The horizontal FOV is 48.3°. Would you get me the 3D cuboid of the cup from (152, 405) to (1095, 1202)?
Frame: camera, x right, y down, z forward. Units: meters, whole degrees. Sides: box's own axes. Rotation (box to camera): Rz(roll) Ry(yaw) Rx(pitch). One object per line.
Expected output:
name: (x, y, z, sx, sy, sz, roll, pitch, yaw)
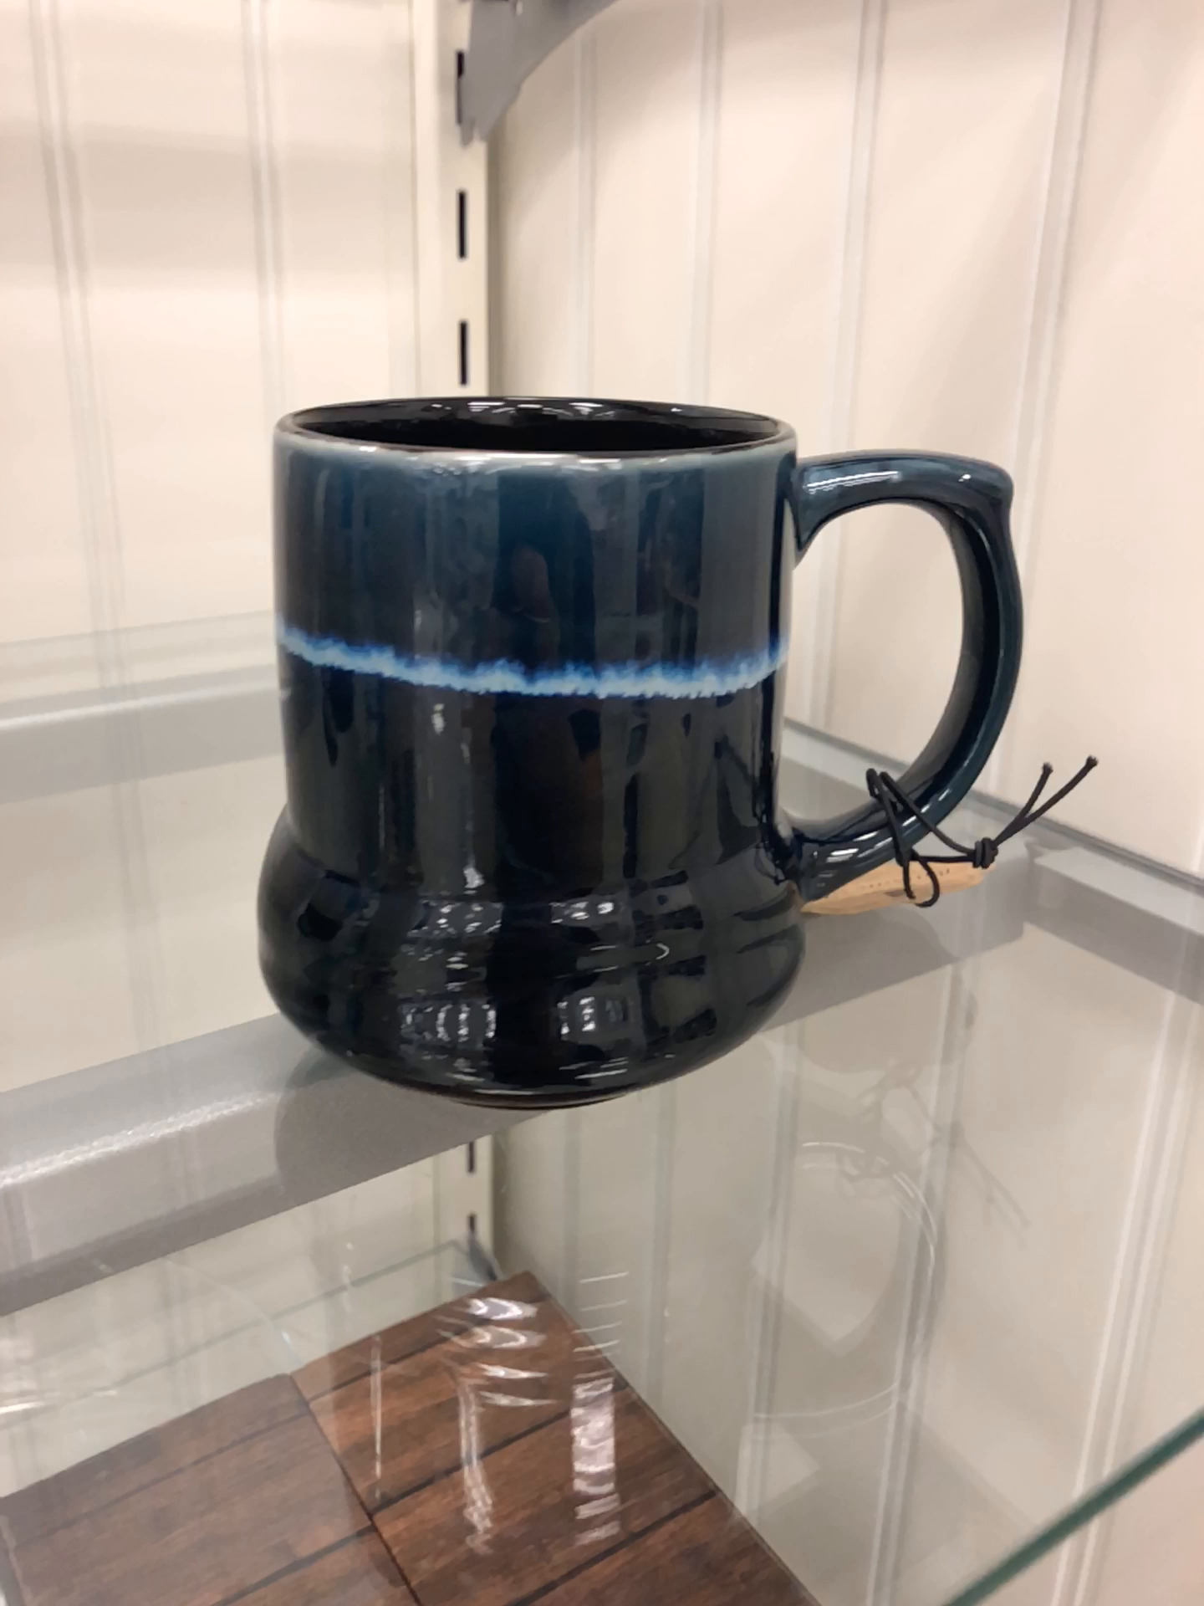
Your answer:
cup: (-0.006, -0.014, 0.254, 0.140, 0.109, 0.101, -5, 22, -18)
